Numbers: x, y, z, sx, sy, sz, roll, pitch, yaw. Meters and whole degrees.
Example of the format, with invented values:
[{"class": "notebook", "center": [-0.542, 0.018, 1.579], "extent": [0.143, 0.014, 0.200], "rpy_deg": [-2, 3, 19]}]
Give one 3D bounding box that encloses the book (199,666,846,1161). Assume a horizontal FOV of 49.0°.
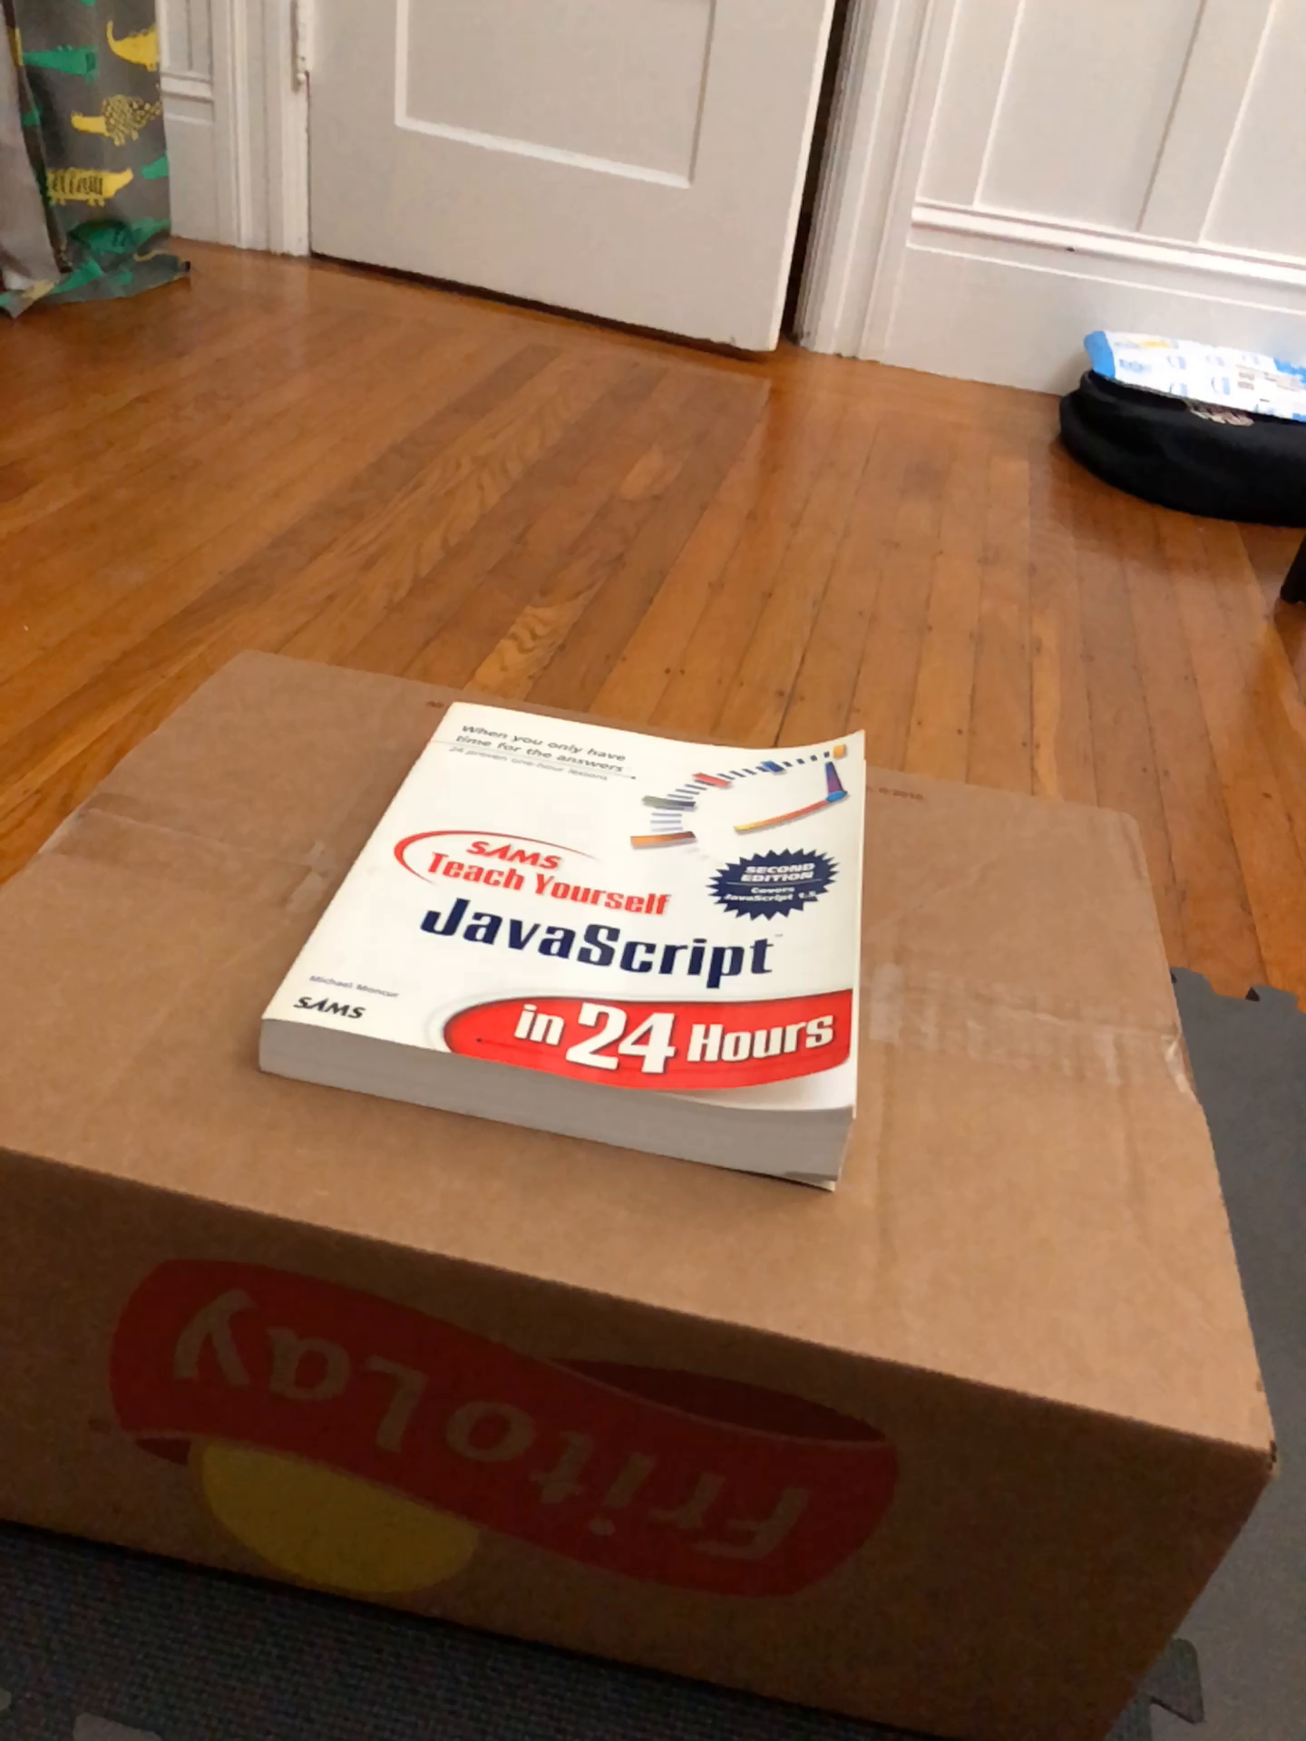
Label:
[{"class": "book", "center": [-0.029, 0.000, 0.546], "extent": [0.200, 0.030, 0.241], "rpy_deg": [10, 31, 2]}]
